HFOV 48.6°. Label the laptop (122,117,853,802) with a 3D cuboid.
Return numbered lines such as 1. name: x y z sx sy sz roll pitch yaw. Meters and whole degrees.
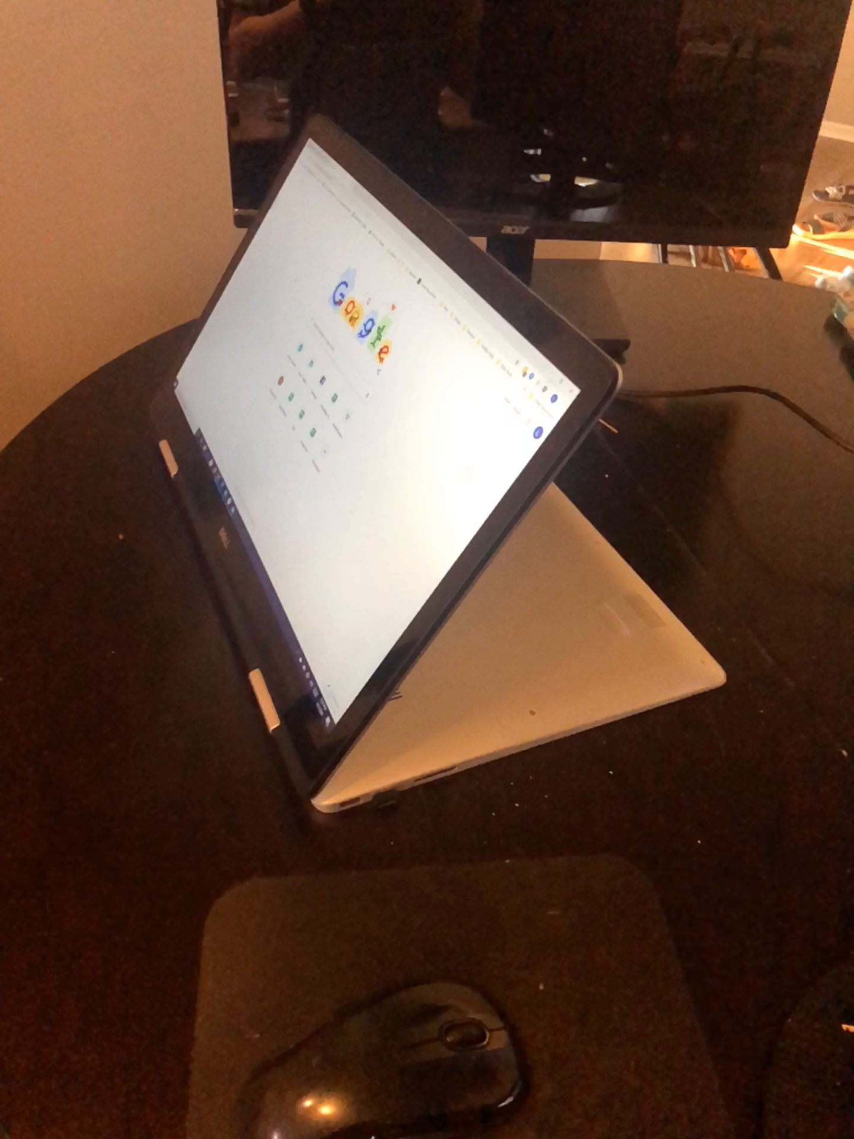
1. laptop: -0.011 -0.114 0.623 0.267 0.232 0.420 -12 42 -19
